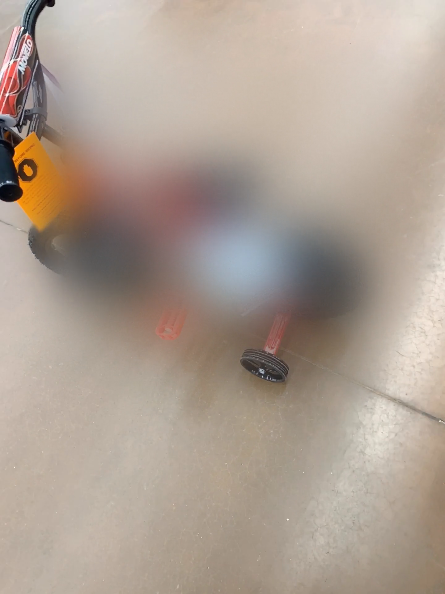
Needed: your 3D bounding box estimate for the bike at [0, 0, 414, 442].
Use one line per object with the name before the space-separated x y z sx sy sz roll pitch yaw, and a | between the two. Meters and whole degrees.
bike | -0.124 -0.139 0.744 0.704 0.627 0.458 8 60 13
